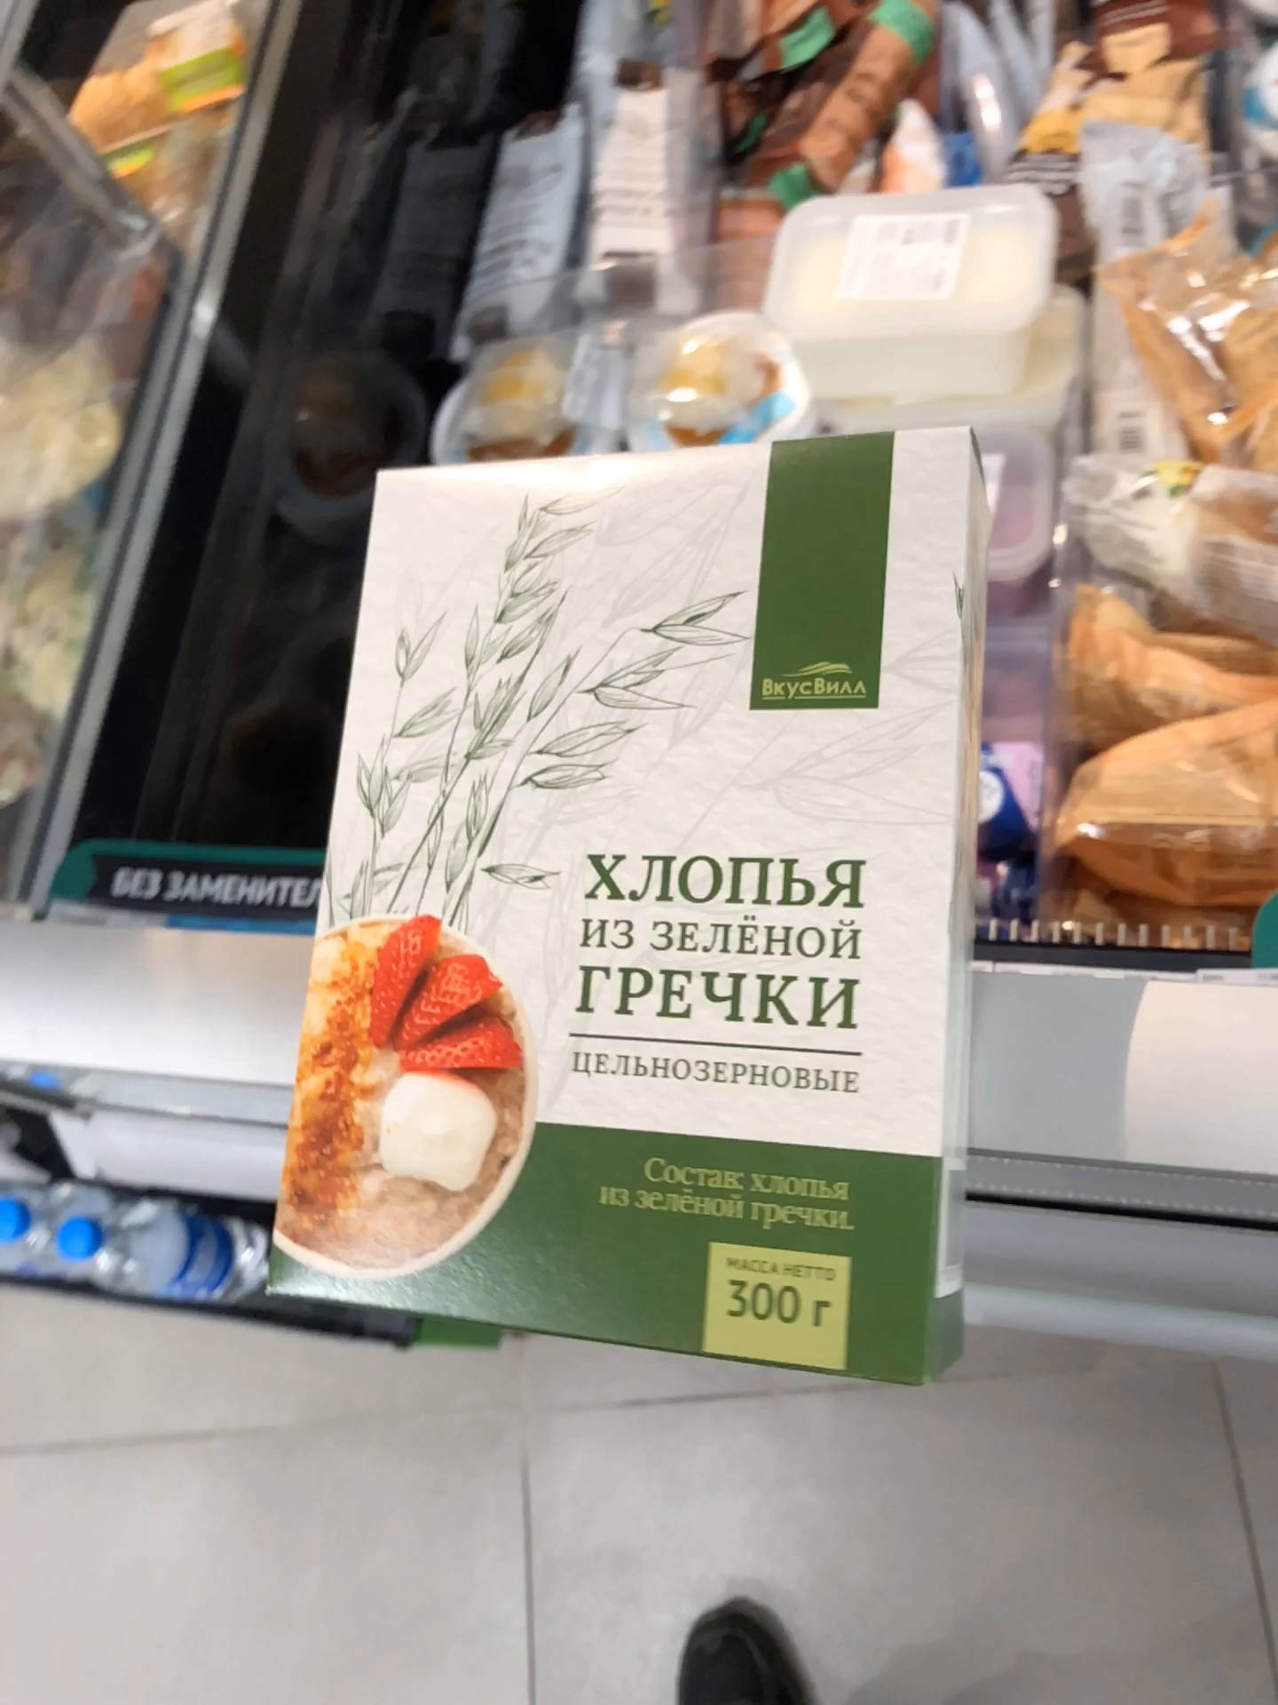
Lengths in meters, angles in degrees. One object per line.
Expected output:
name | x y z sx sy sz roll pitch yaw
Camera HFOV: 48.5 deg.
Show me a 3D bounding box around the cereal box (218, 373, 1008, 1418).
cereal box | -0.001 0.004 0.315 0.150 0.050 0.200 1 79 18
